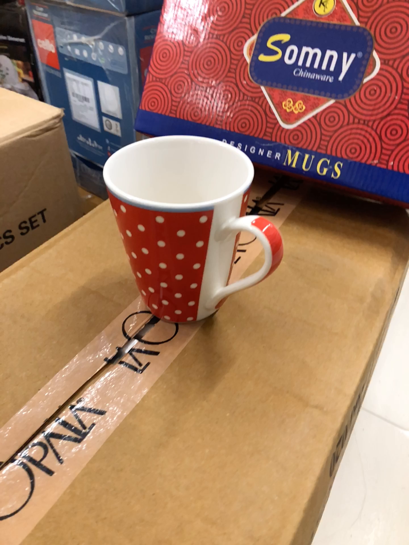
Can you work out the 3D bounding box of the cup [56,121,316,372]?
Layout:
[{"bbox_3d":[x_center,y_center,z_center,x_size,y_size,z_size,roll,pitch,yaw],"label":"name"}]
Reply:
[{"bbox_3d":[-0.012,-0.023,0.278,0.120,0.089,0.080,27,46,28],"label":"cup"}]
